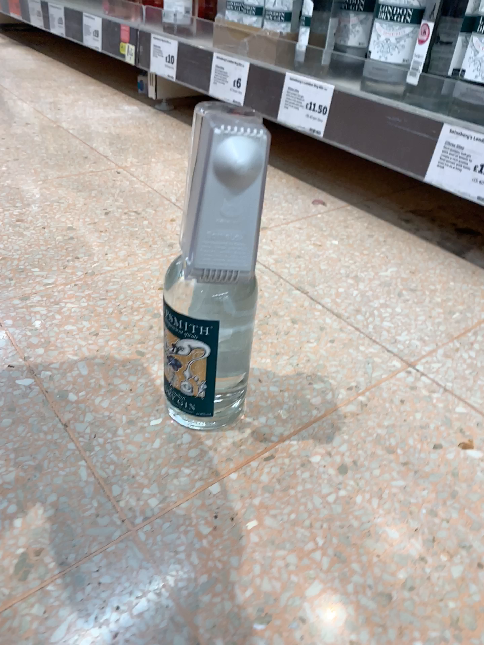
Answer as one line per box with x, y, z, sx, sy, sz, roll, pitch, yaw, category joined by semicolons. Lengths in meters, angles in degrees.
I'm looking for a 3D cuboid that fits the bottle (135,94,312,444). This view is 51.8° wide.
-0.020;-0.030;0.347;0.069;0.222;0.075;4;35;-3;bottle
